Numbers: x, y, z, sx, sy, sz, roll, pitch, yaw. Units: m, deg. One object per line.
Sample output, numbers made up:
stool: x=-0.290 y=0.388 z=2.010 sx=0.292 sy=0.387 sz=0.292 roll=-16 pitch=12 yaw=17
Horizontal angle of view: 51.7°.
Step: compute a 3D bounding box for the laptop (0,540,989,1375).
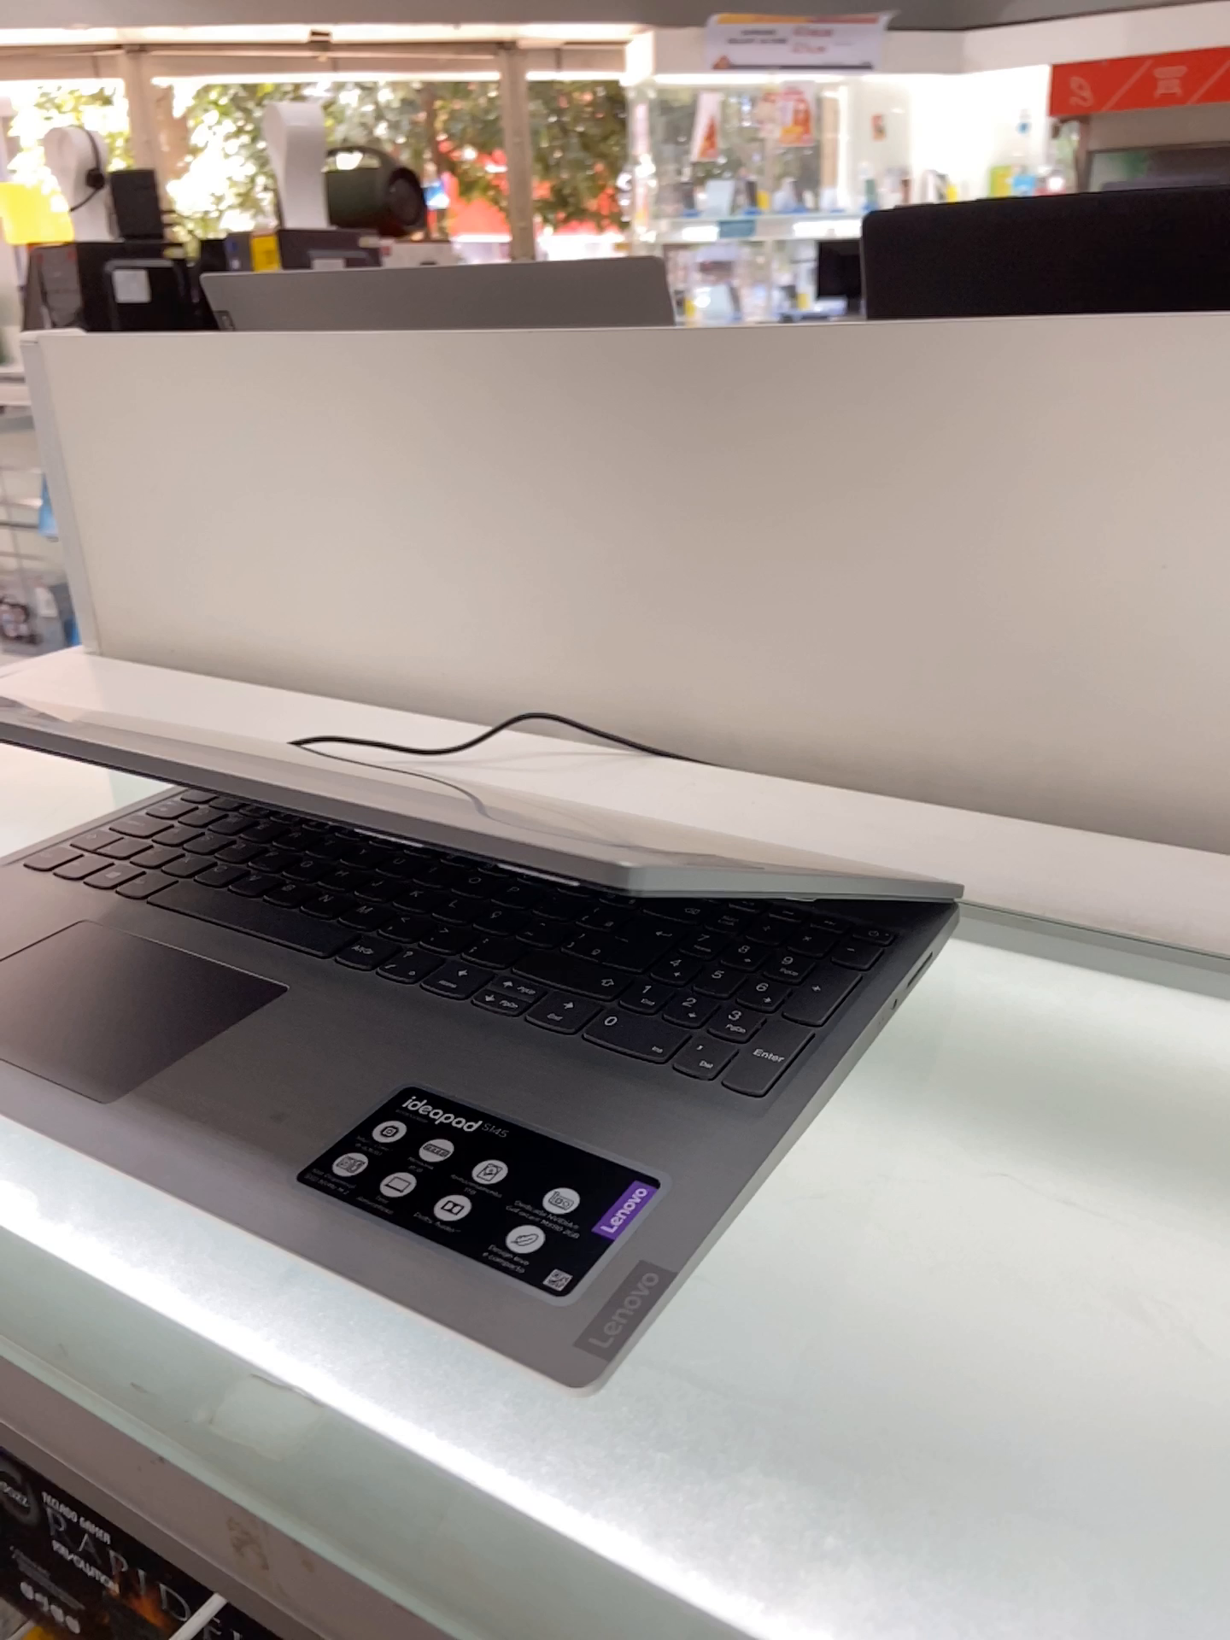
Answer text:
laptop: x=-0.091 y=-0.008 z=0.421 sx=0.353 sy=0.104 sz=0.240 roll=12 pitch=27 yaw=30
